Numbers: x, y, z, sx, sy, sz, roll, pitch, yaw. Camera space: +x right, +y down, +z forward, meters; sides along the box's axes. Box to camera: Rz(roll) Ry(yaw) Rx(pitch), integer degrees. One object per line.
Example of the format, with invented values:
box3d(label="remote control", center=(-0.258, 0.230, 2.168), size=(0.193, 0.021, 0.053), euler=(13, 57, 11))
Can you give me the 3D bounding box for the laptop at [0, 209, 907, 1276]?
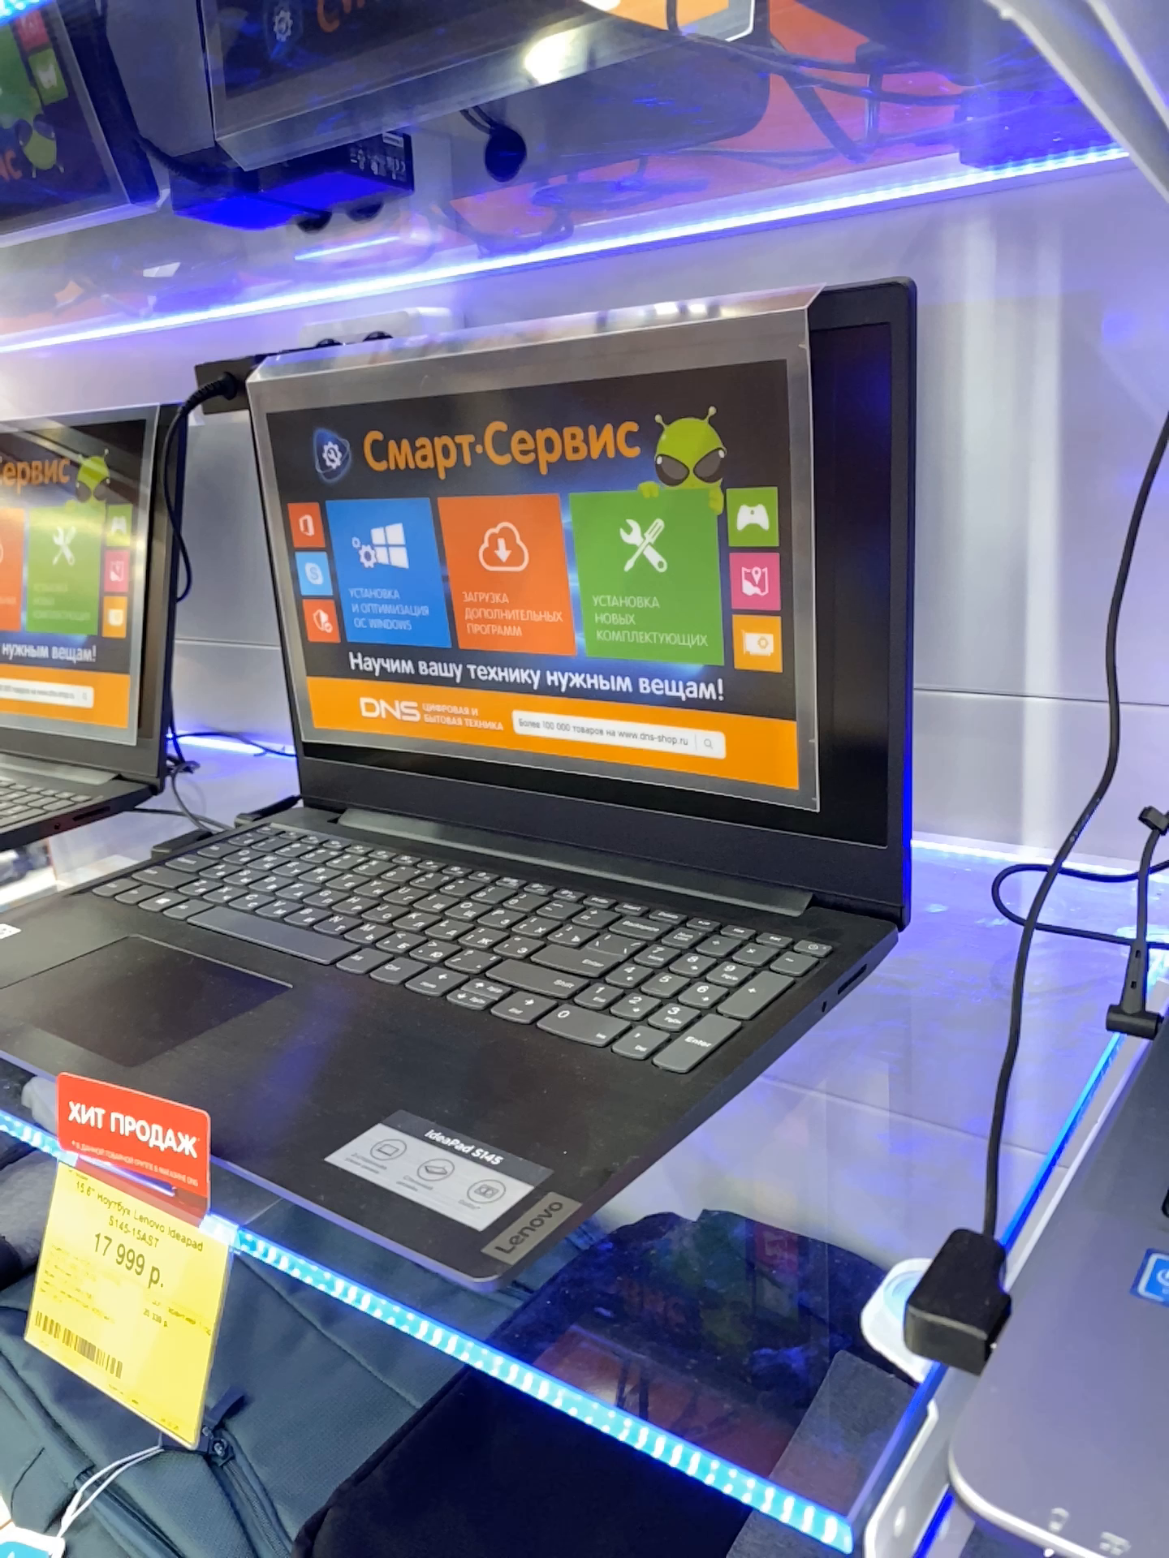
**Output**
box3d(label="laptop", center=(-0.097, -0.047, 0.467), size=(0.362, 0.239, 0.257), euler=(7, 19, 36))
